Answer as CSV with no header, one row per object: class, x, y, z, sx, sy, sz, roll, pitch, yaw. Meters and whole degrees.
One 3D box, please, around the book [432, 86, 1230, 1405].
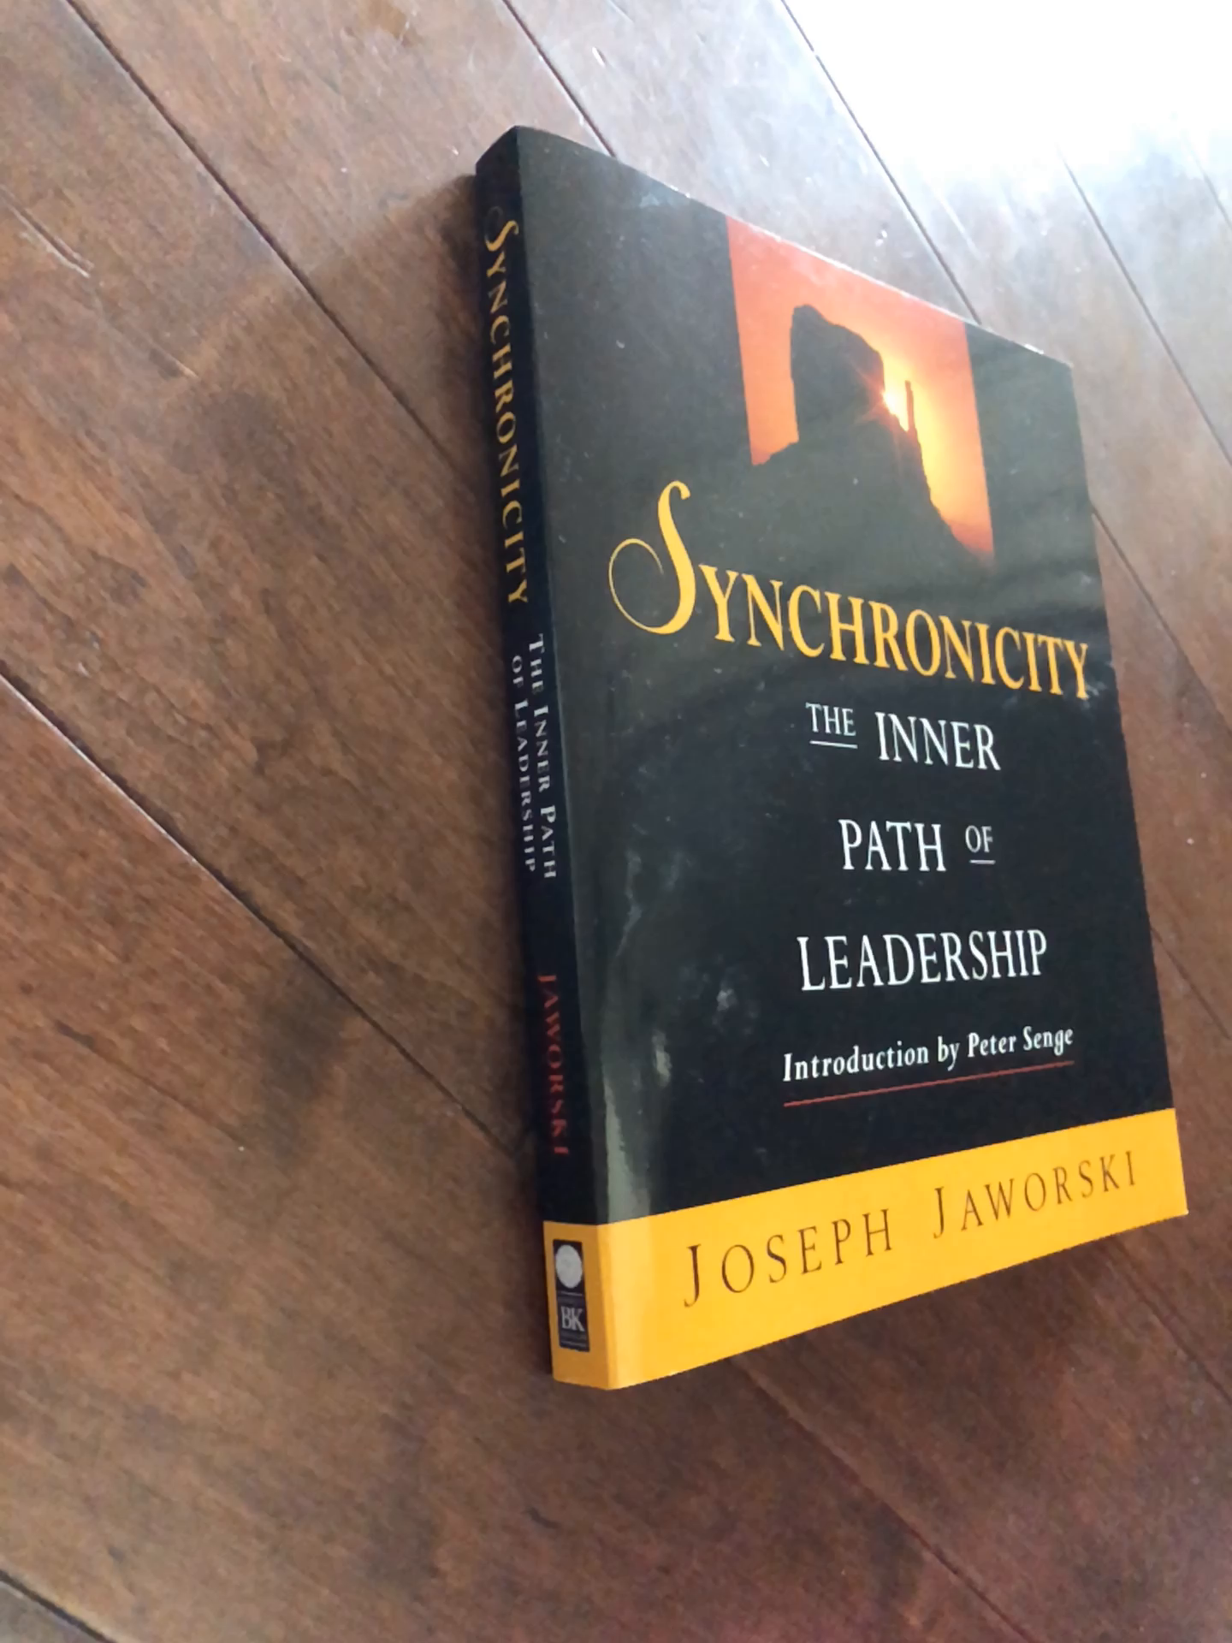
book,0.057,-0.016,0.300,0.191,0.030,0.222,1,80,-40
